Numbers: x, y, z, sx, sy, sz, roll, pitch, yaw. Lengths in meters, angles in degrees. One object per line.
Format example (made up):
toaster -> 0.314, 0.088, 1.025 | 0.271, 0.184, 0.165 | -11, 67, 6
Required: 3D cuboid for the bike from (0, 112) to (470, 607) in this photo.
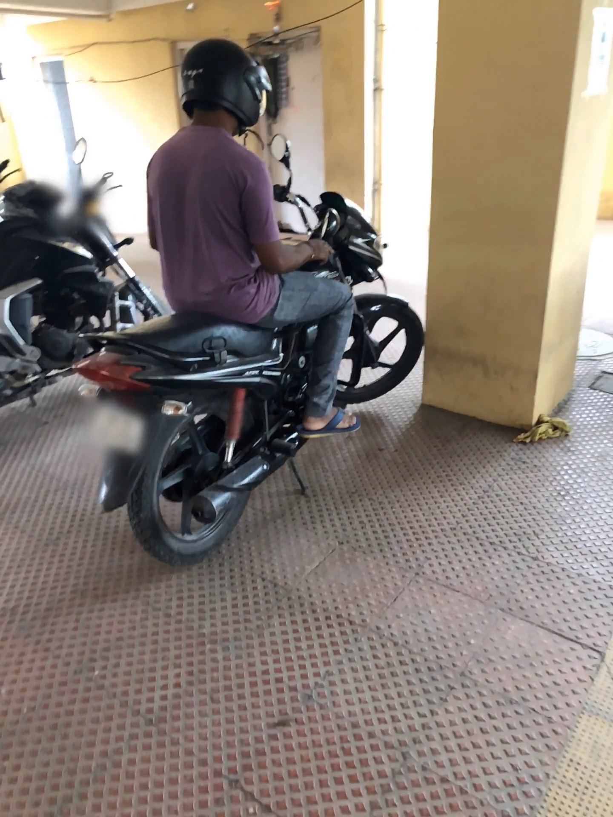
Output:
bike -> -0.102, -0.348, 2.490 | 0.633, 1.063, 1.649 | 16, 37, 34
